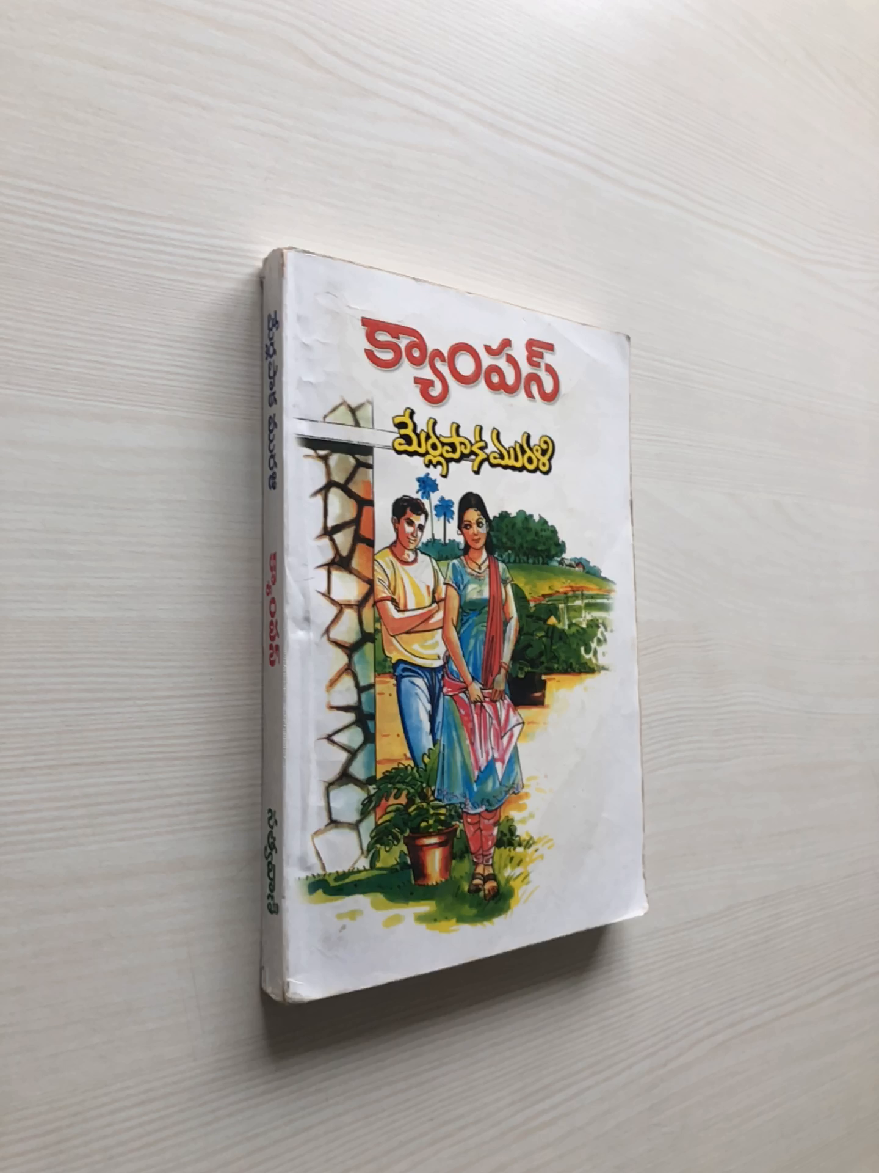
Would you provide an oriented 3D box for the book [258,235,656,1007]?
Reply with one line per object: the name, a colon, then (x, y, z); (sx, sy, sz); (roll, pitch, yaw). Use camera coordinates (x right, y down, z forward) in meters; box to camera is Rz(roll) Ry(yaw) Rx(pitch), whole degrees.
book: (0.009, 0.007, 0.249); (0.113, 0.016, 0.163); (2, 86, -37)
